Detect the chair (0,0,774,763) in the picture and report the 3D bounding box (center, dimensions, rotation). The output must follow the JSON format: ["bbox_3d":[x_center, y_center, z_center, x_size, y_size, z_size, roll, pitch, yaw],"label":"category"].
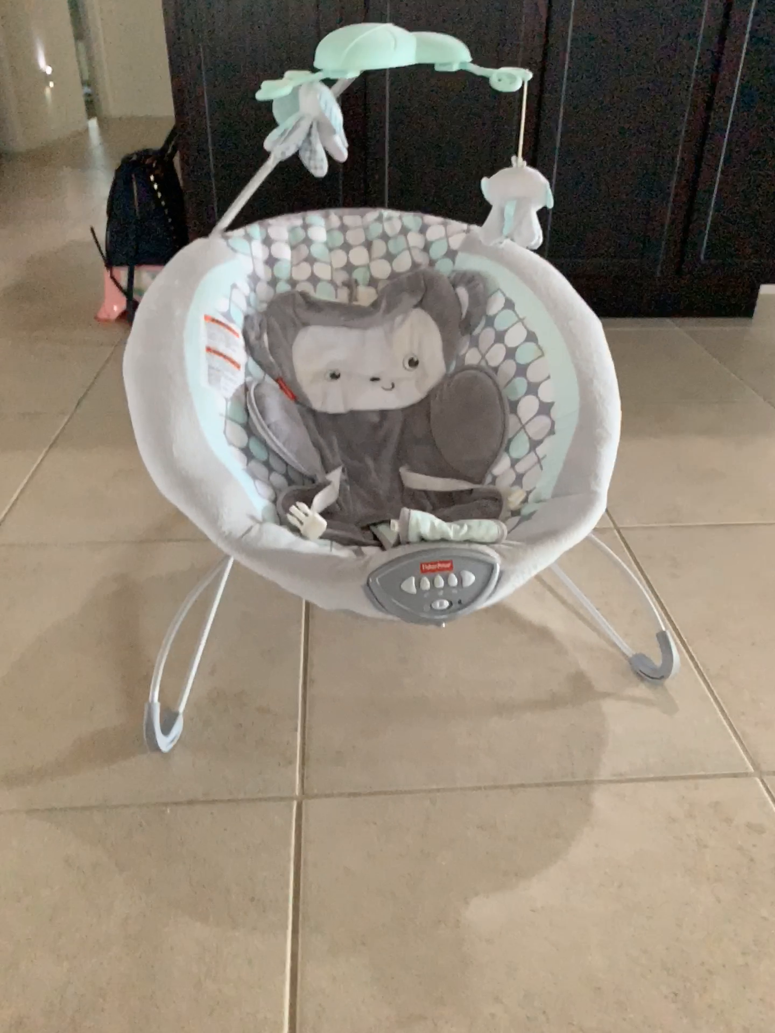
[{"bbox_3d":[0.011,-0.190,0.840,0.571,0.578,0.550,-4,30,-8],"label":"chair"}]
